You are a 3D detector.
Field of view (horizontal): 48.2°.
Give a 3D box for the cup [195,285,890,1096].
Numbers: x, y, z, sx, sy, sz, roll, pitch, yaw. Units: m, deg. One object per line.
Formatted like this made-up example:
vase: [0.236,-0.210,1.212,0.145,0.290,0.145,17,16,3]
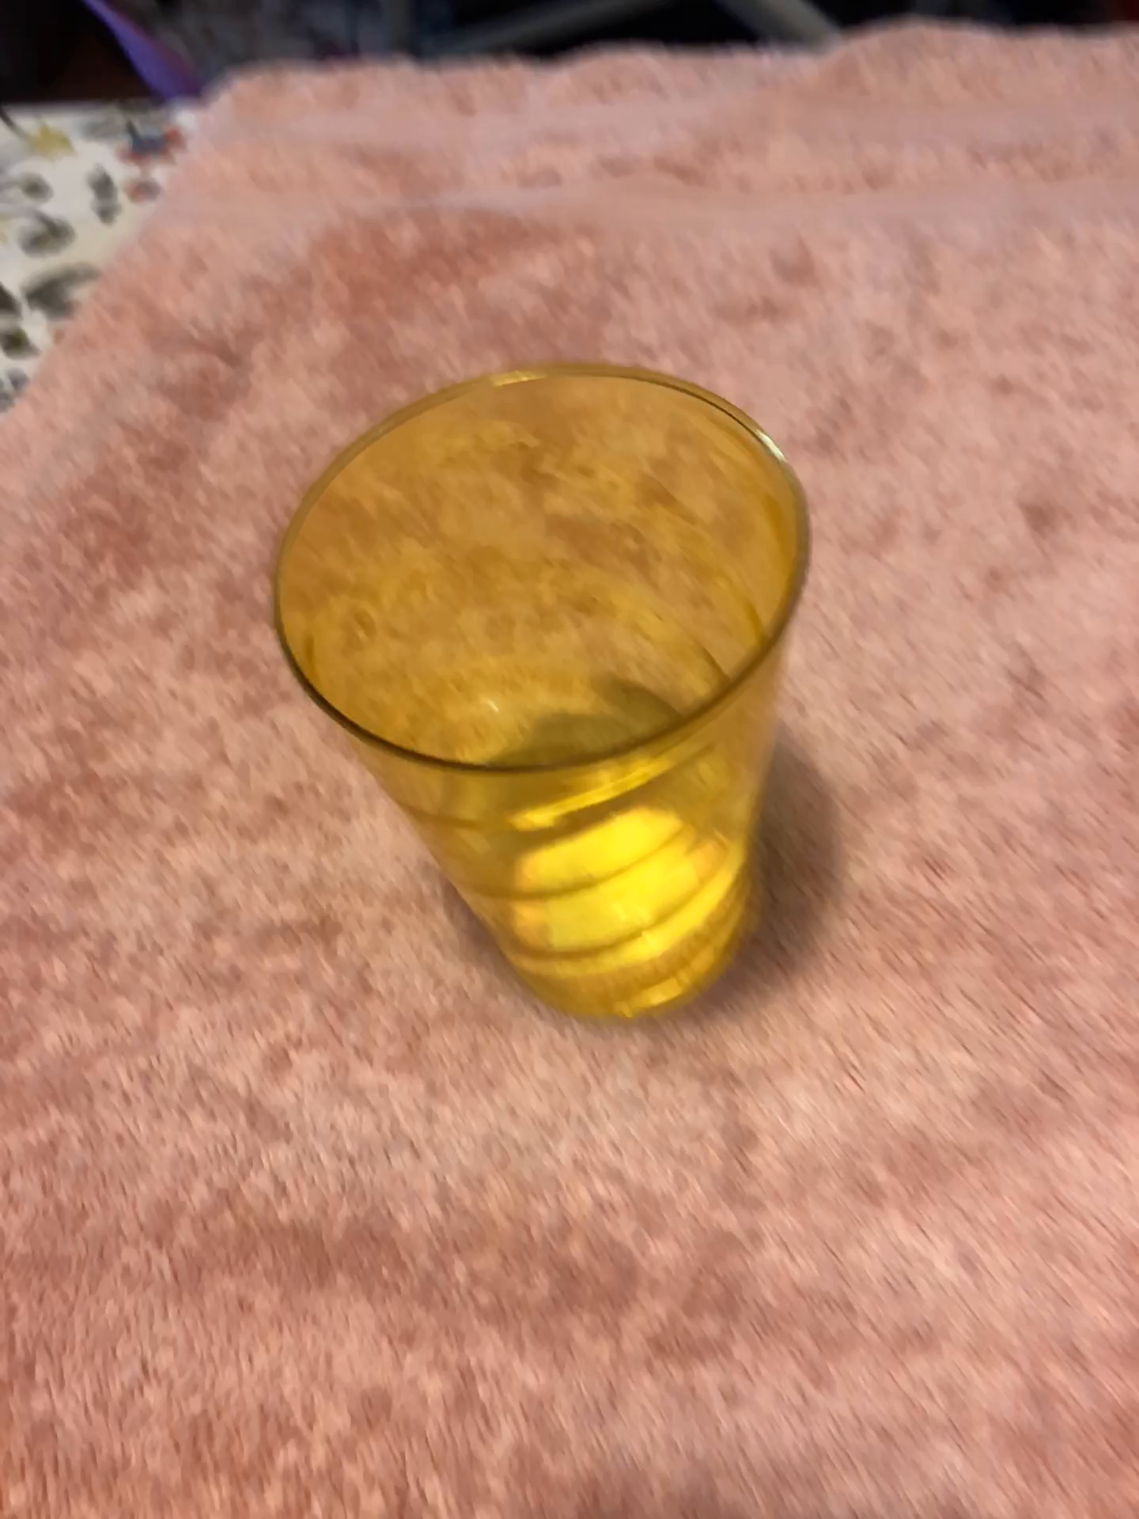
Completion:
cup: [0.004,-0.007,0.238,0.080,0.120,0.080,-3,56,4]
